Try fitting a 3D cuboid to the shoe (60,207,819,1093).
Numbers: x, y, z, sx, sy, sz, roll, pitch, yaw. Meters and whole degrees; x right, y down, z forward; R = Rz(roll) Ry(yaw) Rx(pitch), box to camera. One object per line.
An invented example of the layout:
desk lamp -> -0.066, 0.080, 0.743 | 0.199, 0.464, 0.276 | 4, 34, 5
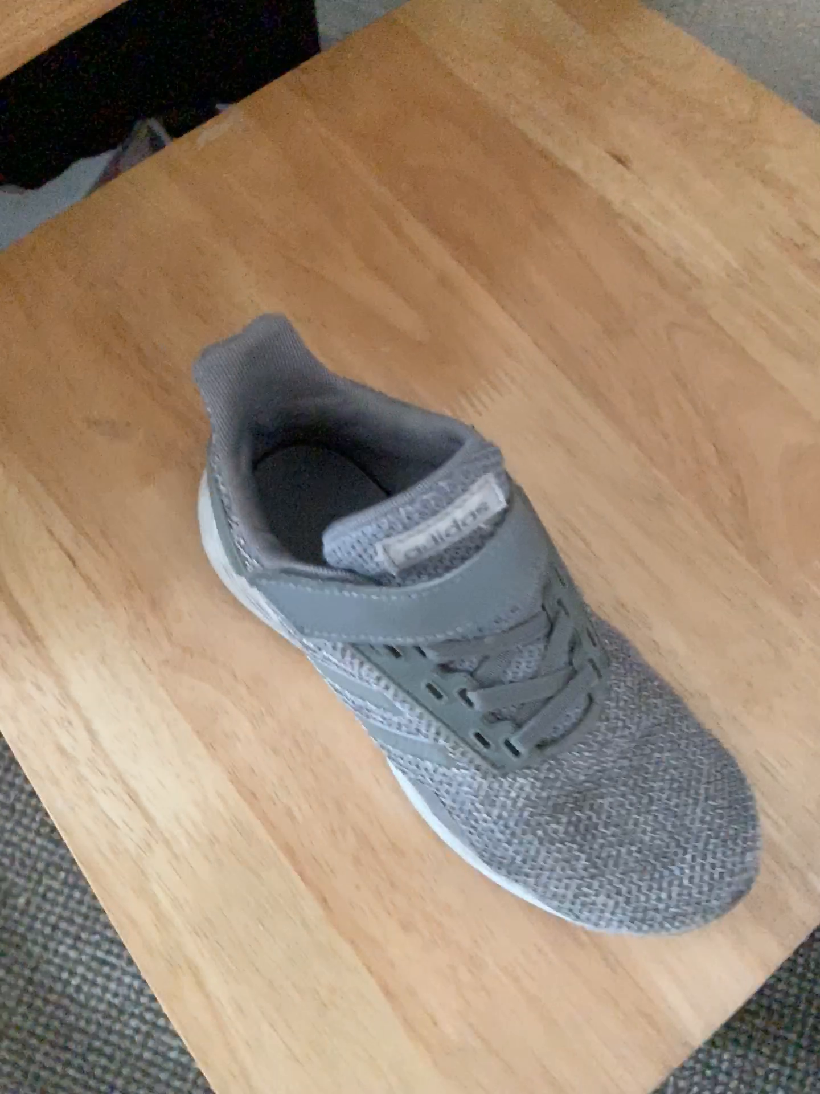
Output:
shoe -> 0.018, 0.022, 0.246 | 0.090, 0.080, 0.220 | -43, 80, -12
